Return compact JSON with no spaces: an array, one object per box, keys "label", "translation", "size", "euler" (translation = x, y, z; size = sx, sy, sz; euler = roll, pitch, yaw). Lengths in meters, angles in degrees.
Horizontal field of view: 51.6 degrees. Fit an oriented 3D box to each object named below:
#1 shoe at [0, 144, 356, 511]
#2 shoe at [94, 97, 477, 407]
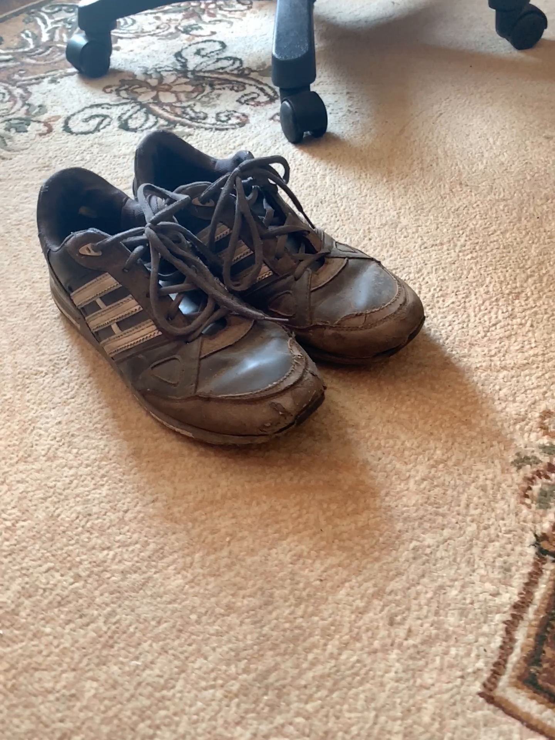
[{"label":"shoe","translation":[-0.099,-0.054,0.440],"size":[0.116,0.099,0.314],"euler":[-38,56,-24]},{"label":"shoe","translation":[-0.008,-0.119,0.491],"size":[0.120,0.099,0.311],"euler":[-38,56,-24]}]
